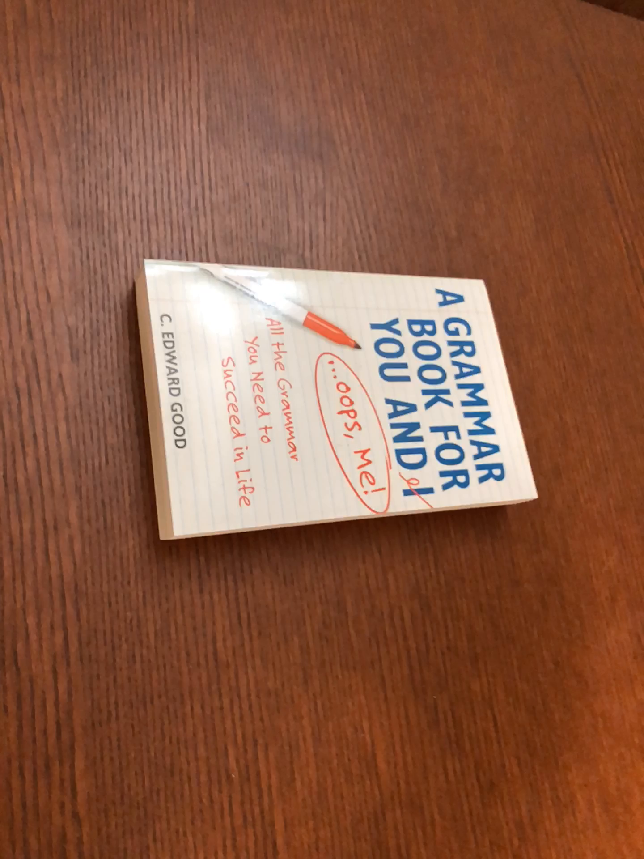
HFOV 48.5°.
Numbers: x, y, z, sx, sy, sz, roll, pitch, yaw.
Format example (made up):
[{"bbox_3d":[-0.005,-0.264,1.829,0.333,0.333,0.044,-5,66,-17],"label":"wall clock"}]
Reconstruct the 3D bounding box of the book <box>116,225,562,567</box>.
[{"bbox_3d":[0.013,-0.022,0.414,0.241,0.040,0.170,-2,73,-25],"label":"book"}]
